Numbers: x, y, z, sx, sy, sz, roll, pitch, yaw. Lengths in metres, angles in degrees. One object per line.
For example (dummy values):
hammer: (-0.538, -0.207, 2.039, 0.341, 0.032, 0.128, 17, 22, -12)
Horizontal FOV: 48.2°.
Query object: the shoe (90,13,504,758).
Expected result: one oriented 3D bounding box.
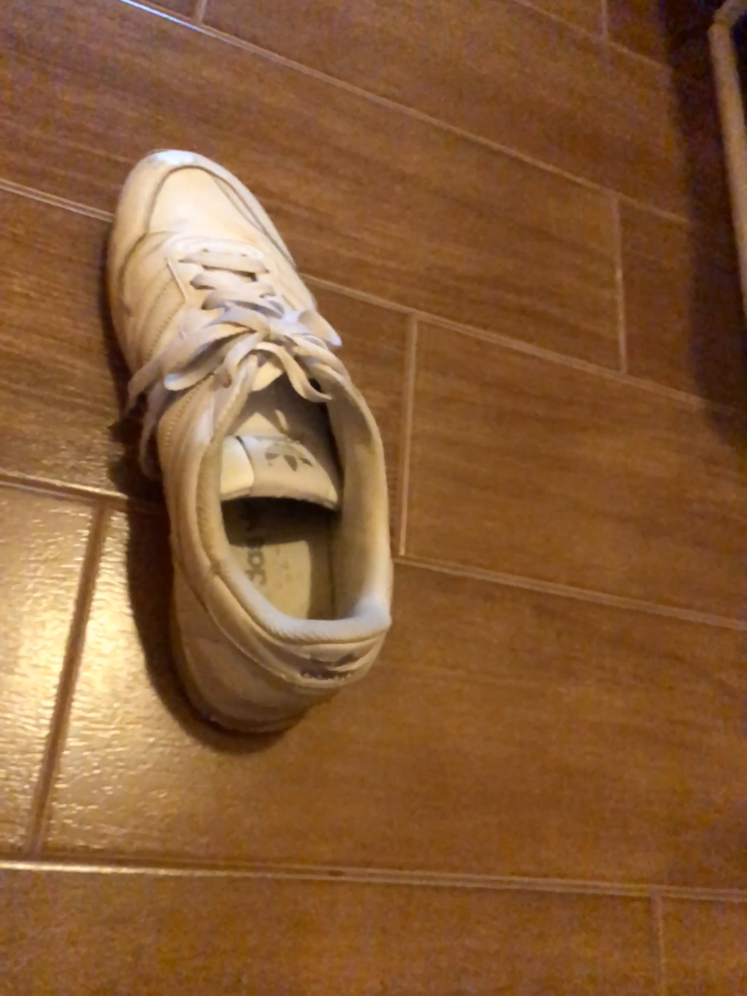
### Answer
shoe: (-0.053, -0.049, 0.401, 0.120, 0.119, 0.310, -3, 72, -26)
